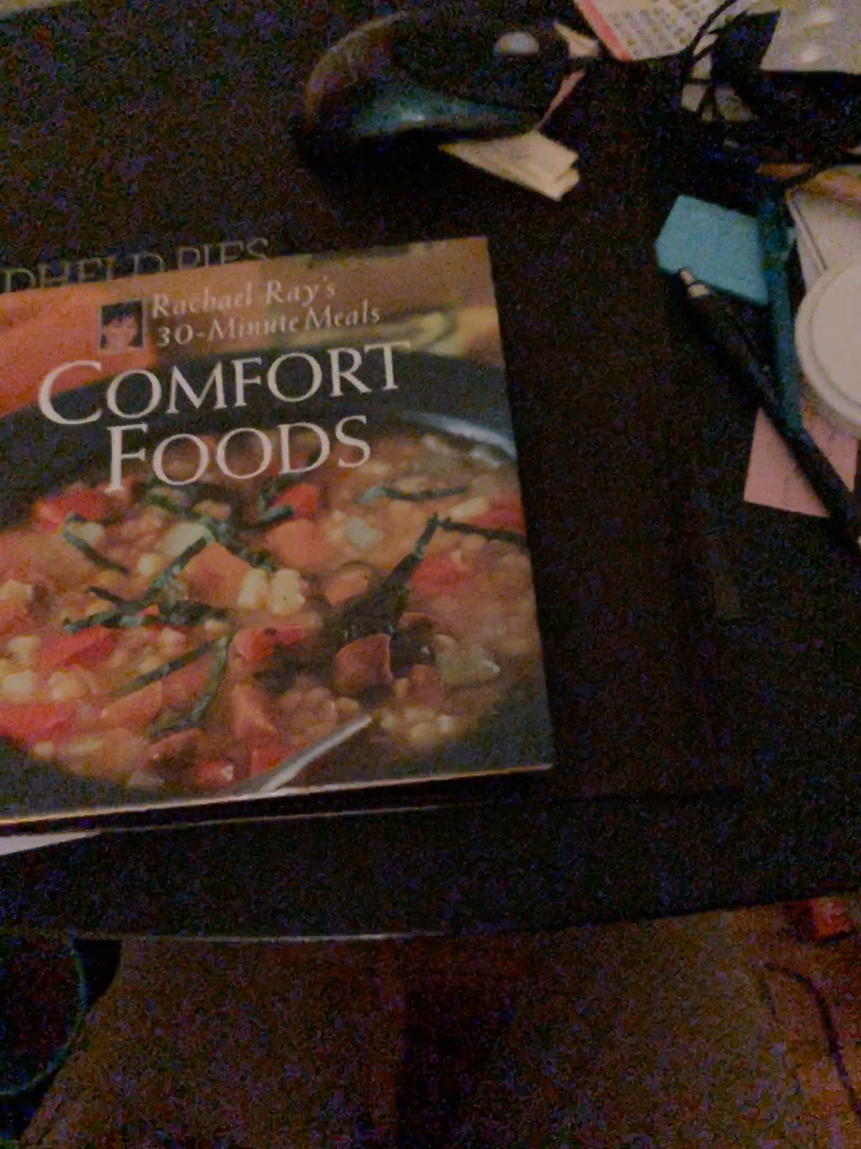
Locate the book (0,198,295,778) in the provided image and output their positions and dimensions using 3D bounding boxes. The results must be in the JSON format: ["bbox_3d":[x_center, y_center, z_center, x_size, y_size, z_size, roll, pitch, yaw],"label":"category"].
[{"bbox_3d":[-0.148,-0.041,0.354,0.180,0.020,0.220,-6,70,3],"label":"book"}]

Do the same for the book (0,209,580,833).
[{"bbox_3d":[-0.063,-0.026,0.324,0.200,0.020,0.210,-7,70,3],"label":"book"}]
